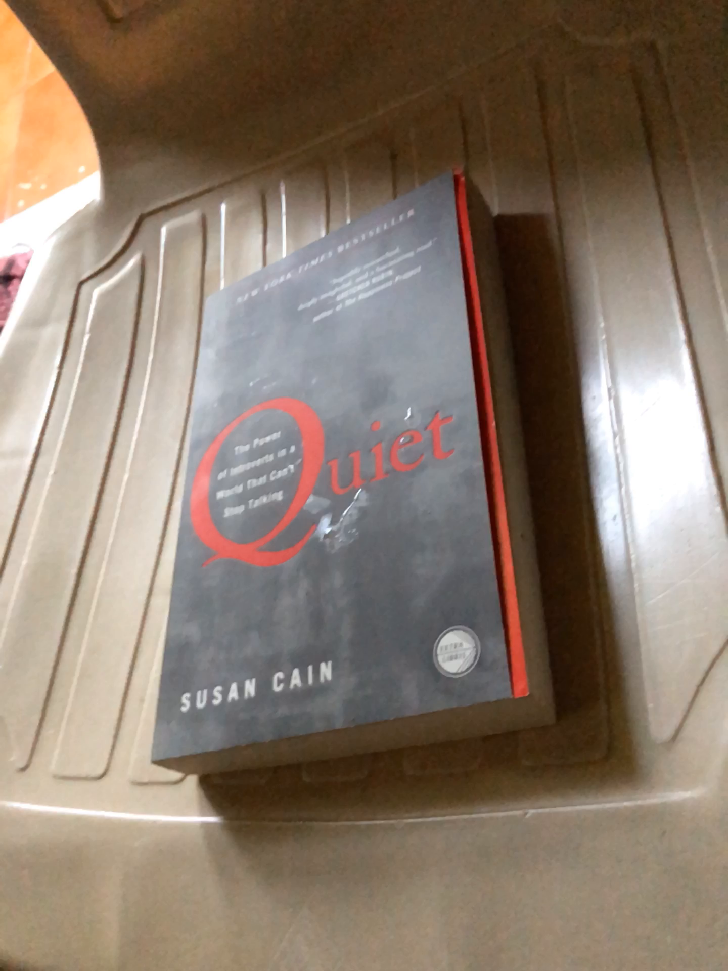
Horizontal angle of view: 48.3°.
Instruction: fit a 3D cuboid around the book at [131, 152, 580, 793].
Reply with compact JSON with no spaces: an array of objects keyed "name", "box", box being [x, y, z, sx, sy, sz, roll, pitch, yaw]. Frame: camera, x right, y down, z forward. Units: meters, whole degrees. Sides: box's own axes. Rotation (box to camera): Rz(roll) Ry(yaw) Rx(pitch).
[{"name":"book","box":[-0.010,-0.009,0.280,0.130,0.030,0.200,-18,56,25]}]
